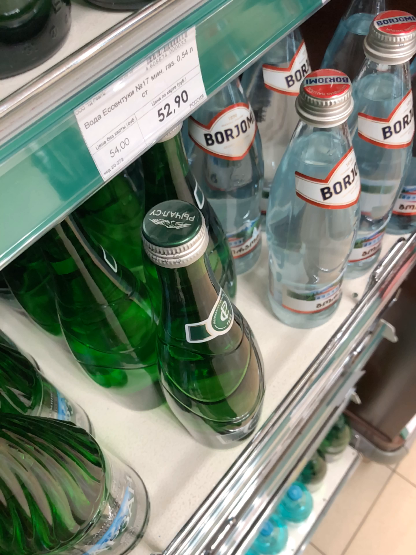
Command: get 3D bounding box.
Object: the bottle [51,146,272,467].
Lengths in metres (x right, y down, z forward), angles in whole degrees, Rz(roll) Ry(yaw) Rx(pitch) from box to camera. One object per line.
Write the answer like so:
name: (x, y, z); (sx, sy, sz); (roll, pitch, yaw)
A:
bottle: (-0.003, 0.046, 0.302); (0.070, 0.259, 0.080); (12, 60, 15)
